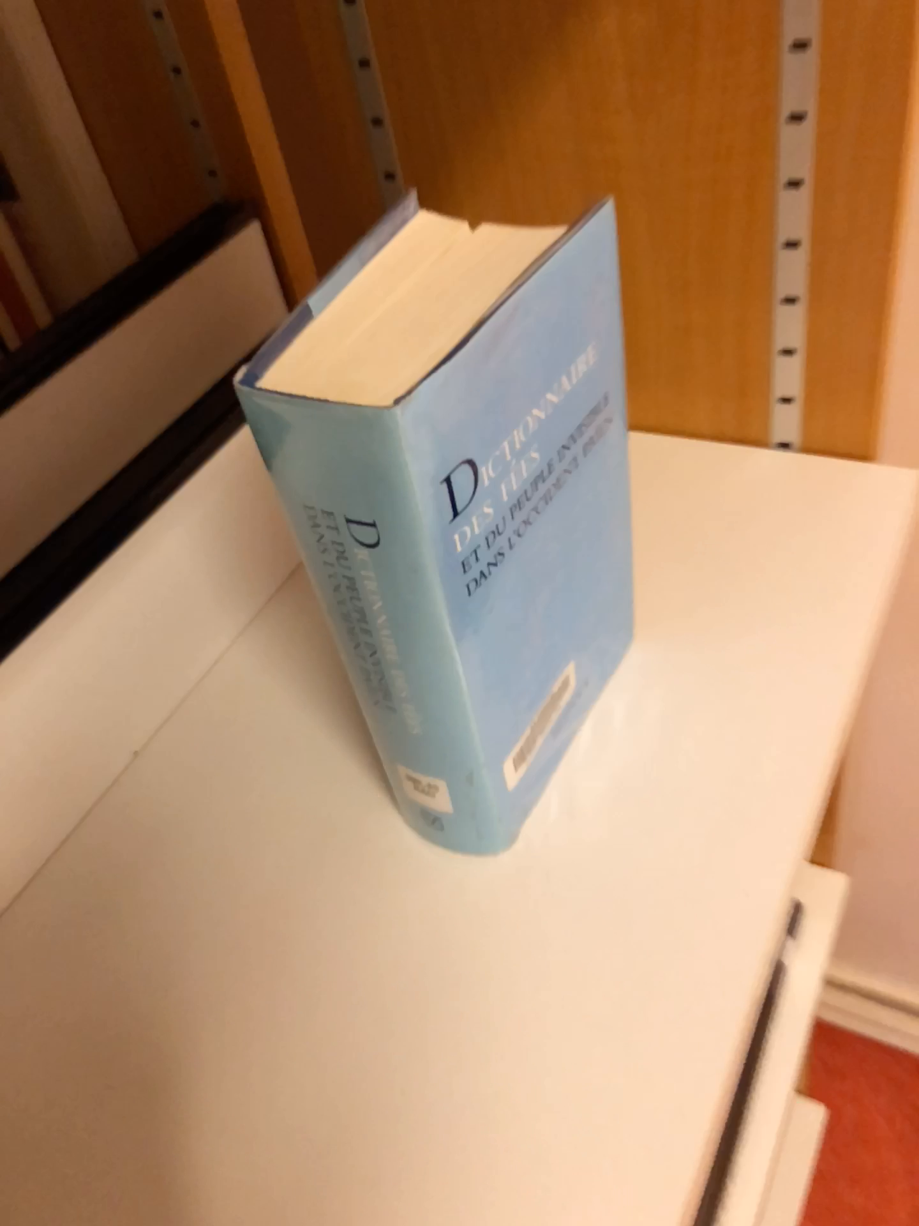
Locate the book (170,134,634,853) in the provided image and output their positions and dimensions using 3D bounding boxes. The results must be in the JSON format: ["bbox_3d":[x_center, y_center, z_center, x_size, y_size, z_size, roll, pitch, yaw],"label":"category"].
[{"bbox_3d":[0.001,-0.033,0.330,0.060,0.186,0.126,16,50,26],"label":"book"}]
